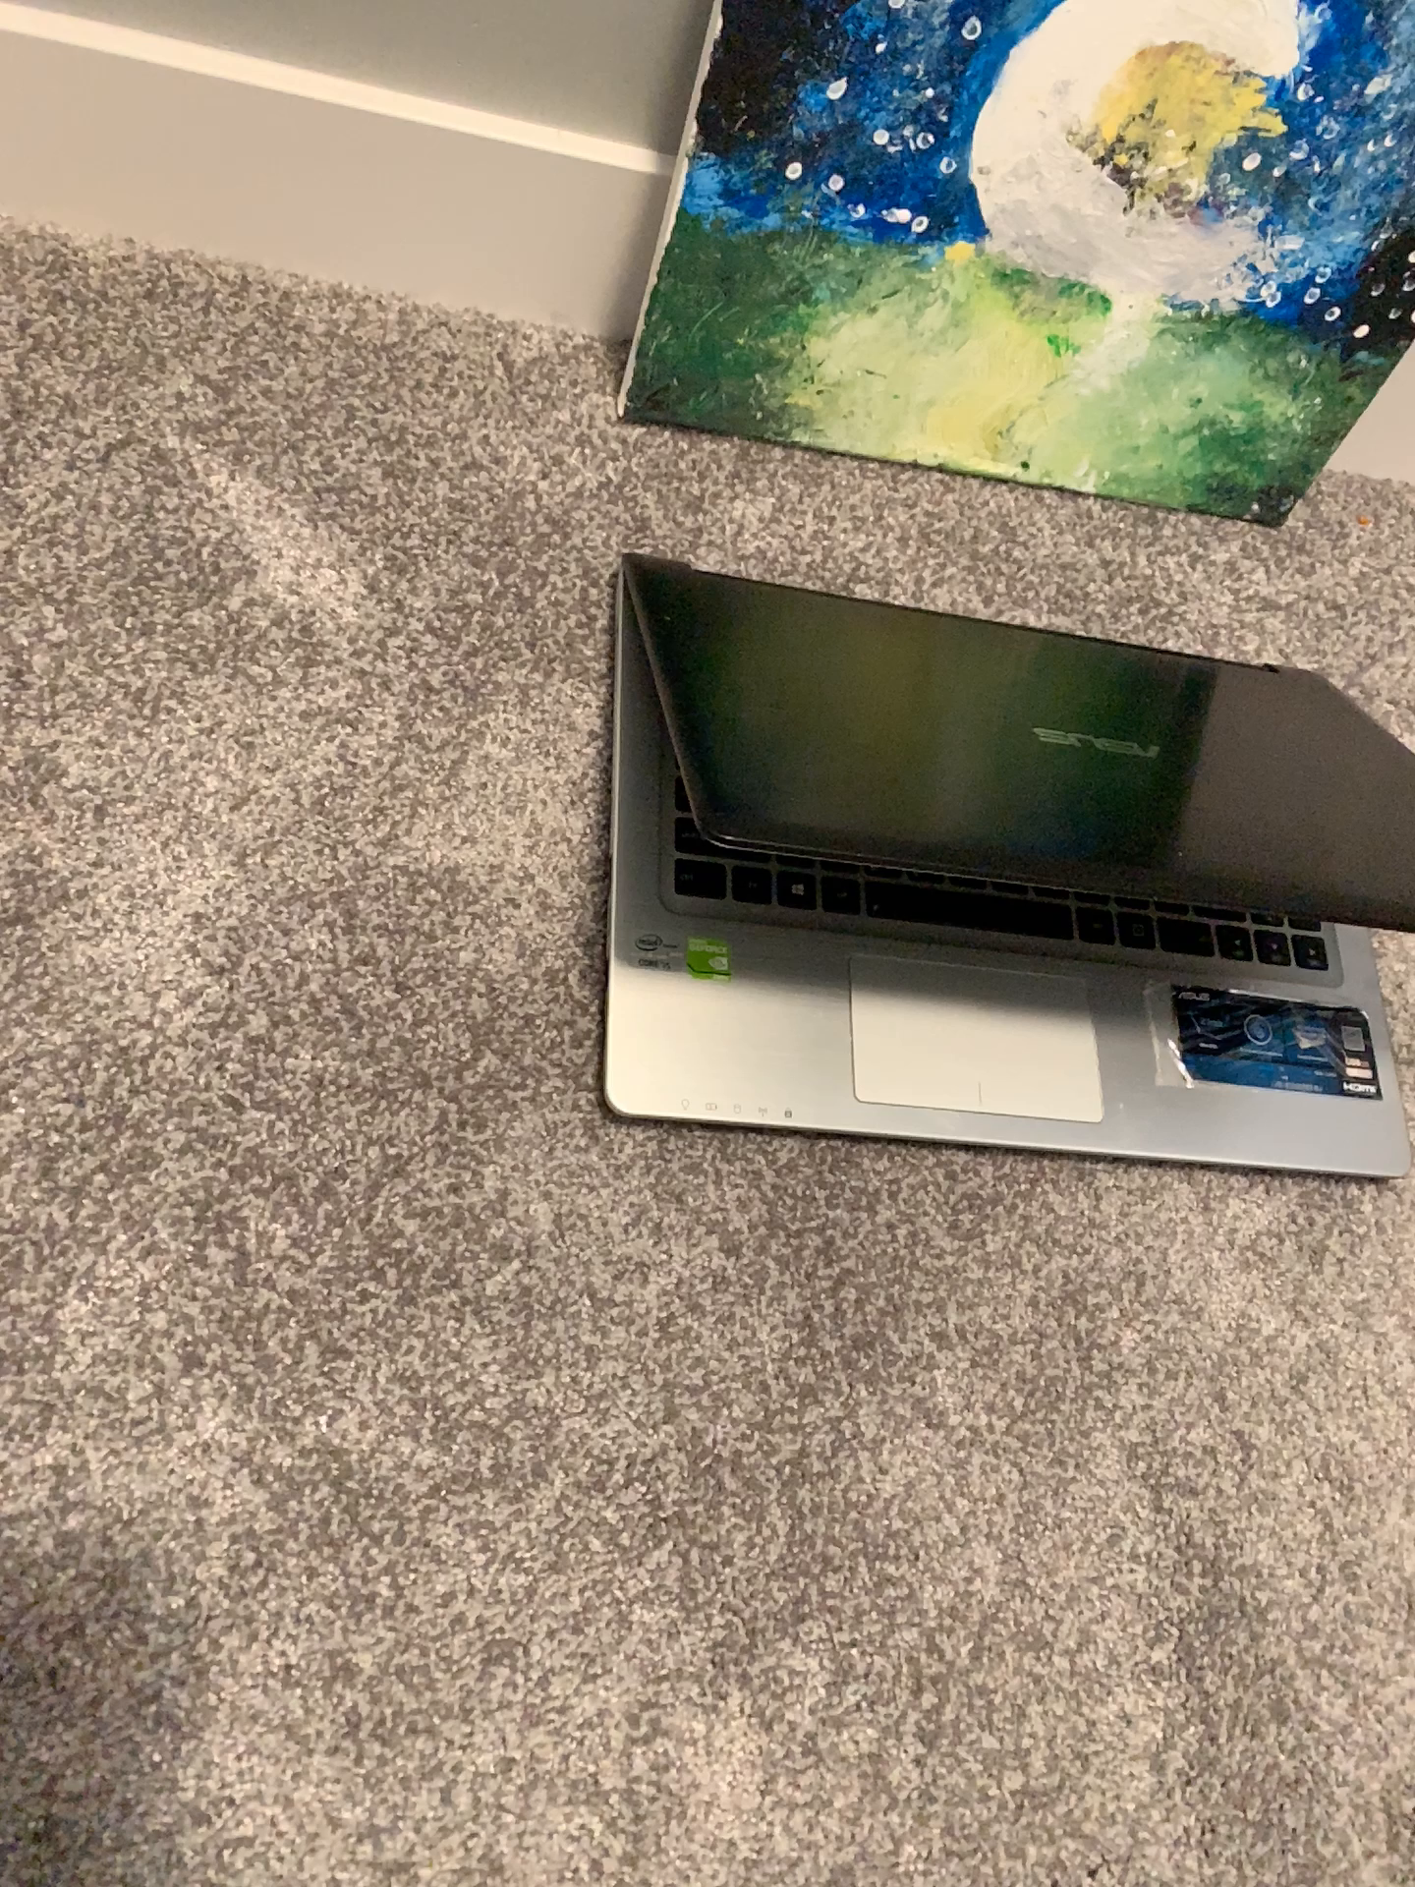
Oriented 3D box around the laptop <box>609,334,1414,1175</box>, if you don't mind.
[{"bbox_3d":[0.151,-0.060,0.574,0.355,0.134,0.253,6,66,-14],"label":"laptop"}]
